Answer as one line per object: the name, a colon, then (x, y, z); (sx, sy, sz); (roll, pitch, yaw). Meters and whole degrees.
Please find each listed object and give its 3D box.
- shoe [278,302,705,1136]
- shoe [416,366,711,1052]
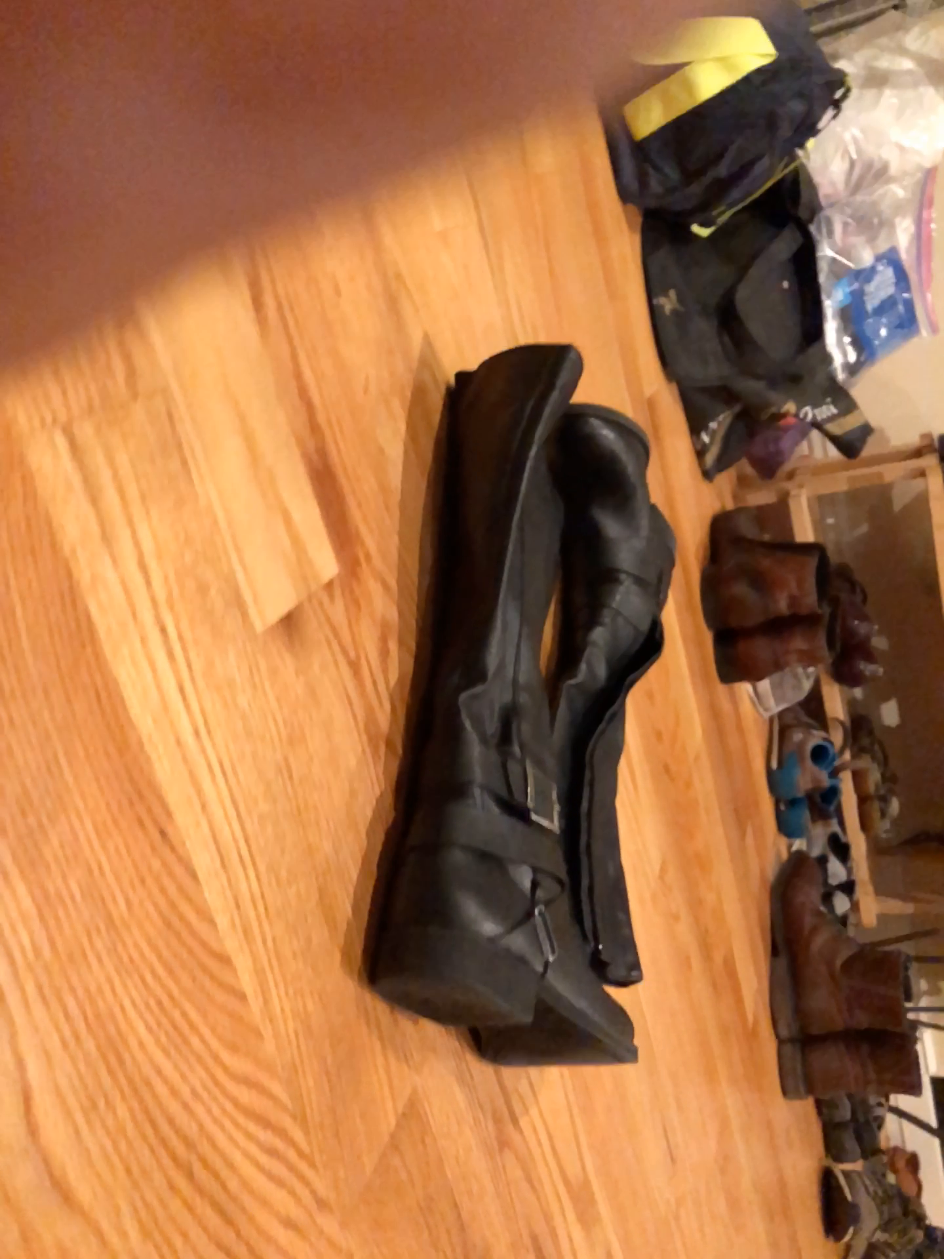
shoe: (0.052, 0.057, 0.638); (0.291, 0.104, 0.404); (54, 37, -47)
shoe: (0.090, 0.053, 0.724); (0.251, 0.094, 0.394); (55, 35, -46)
